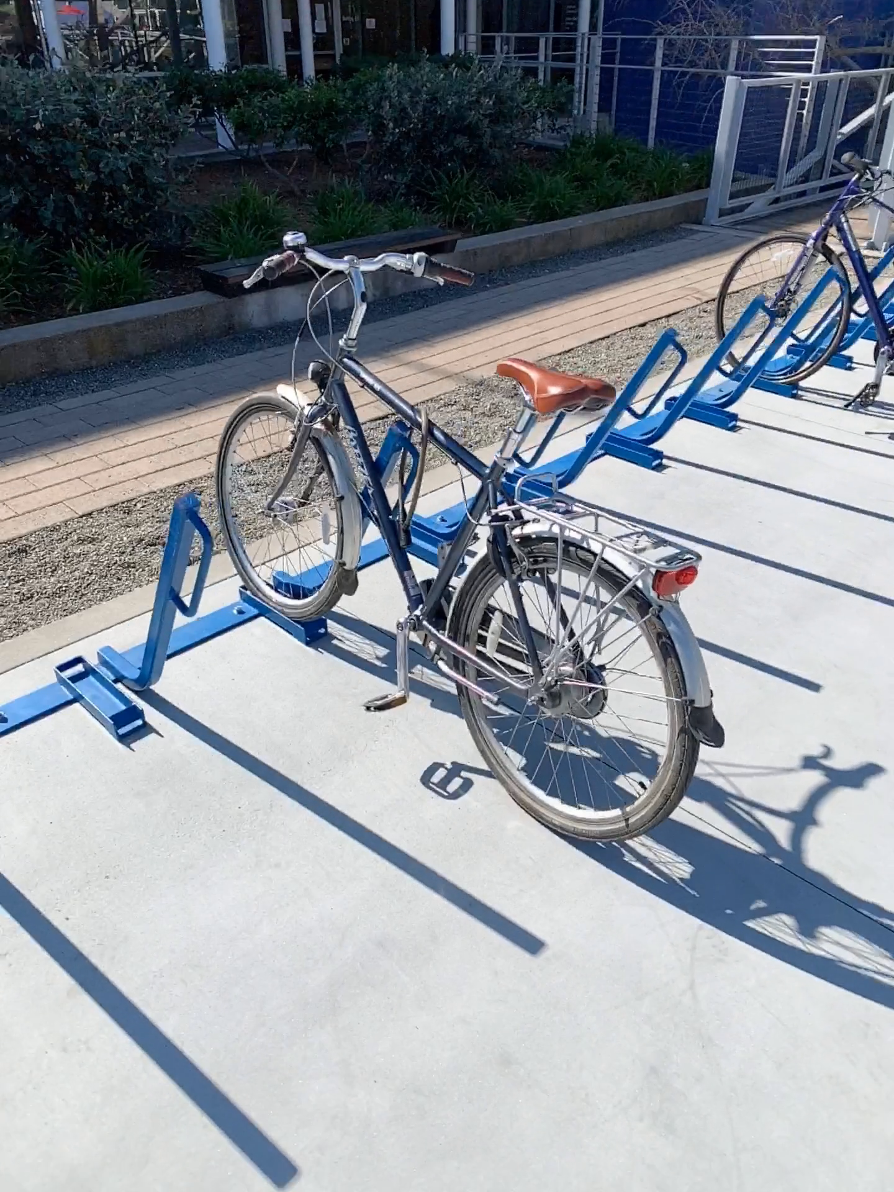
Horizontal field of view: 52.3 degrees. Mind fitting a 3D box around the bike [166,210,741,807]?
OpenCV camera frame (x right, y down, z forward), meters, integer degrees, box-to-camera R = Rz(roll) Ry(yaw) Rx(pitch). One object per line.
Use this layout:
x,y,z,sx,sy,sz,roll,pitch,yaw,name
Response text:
-0.040,-0.283,2.080,0.591,0.915,1.064,-25,40,-34,bike
